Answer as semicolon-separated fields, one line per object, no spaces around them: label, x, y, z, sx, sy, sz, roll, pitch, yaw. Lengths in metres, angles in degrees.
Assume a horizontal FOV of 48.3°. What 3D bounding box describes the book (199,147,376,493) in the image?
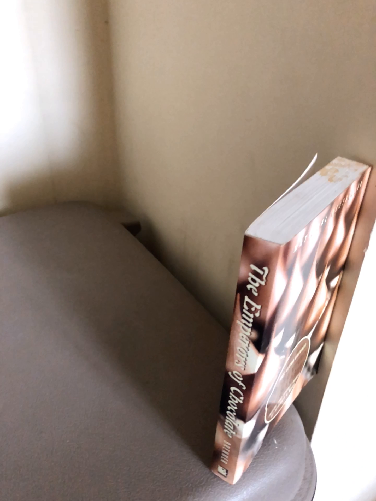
book;0.073;0.045;0.309;0.040;0.199;0.161;21;36;29
